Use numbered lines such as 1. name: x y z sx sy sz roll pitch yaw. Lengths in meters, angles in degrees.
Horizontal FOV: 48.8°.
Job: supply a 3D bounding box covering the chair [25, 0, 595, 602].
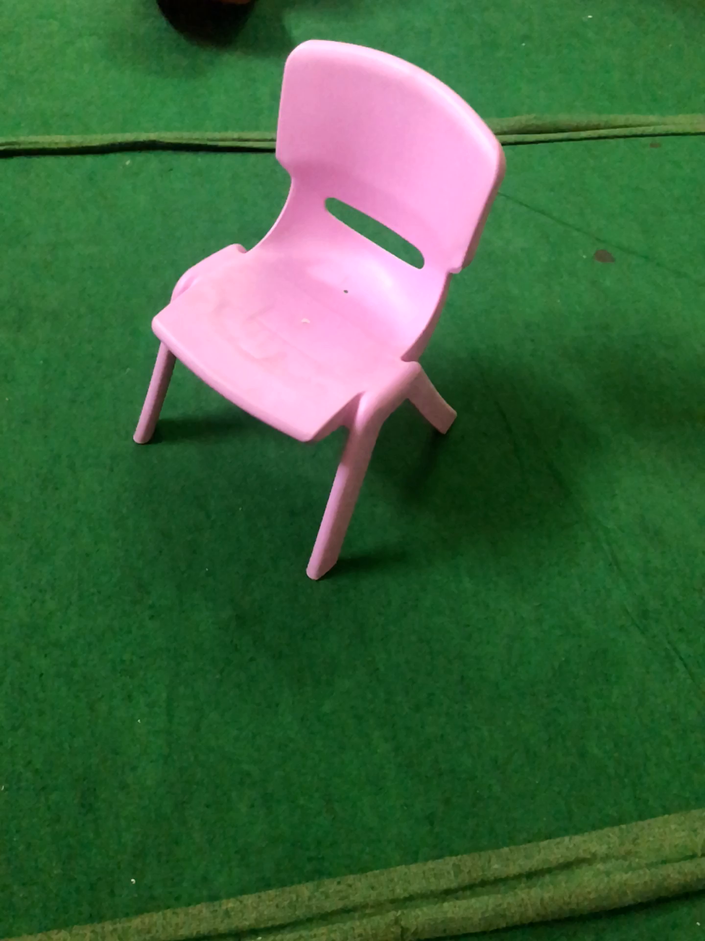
1. chair: -0.045 -0.191 0.938 0.380 0.449 0.411 34 59 14
